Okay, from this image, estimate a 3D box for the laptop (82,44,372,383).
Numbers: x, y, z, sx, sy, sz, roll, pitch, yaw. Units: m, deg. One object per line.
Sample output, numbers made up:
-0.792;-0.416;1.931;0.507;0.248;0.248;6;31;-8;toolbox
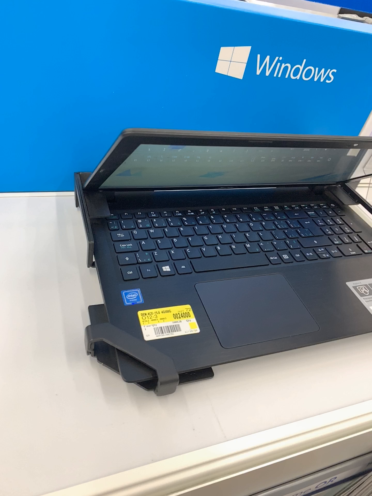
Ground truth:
0.096;-0.053;0.355;0.344;0.147;0.227;-5;44;-22;laptop
